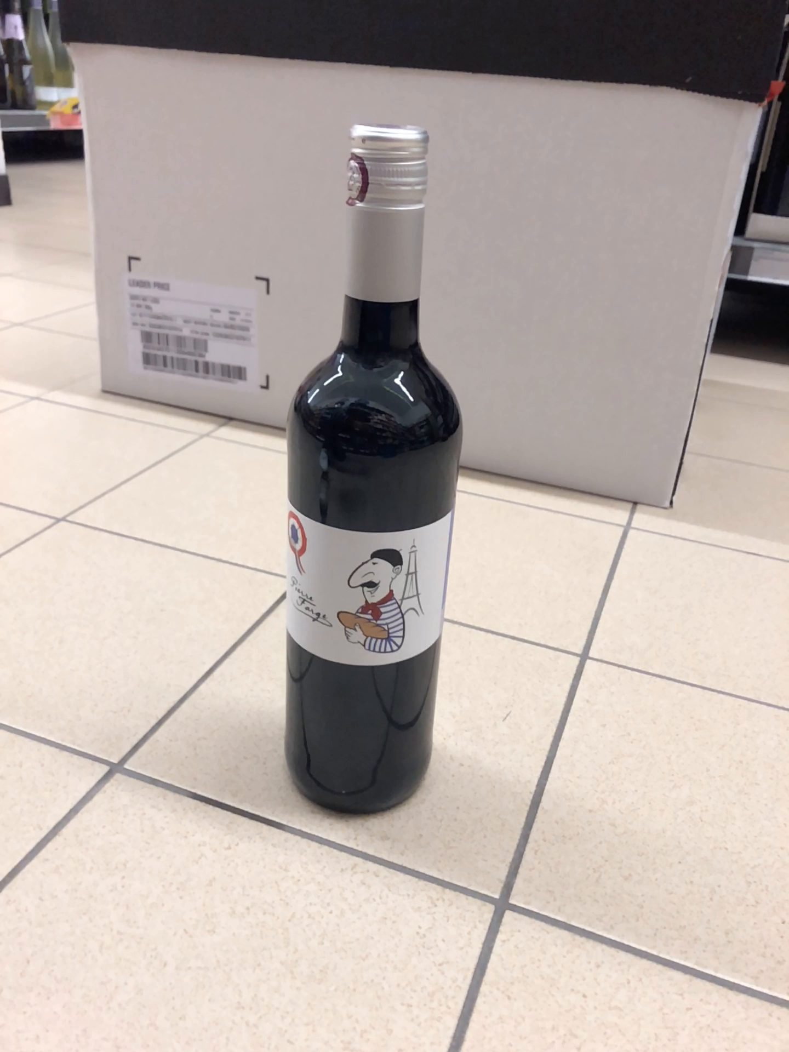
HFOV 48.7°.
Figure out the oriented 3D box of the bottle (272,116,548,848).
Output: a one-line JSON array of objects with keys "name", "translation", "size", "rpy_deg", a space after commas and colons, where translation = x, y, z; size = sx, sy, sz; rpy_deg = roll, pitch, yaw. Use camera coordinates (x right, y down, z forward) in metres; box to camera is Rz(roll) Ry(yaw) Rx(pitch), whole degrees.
[{"name": "bottle", "translation": [0.000, -0.010, 0.378], "size": [0.080, 0.298, 0.081], "rpy_deg": [3, 26, -2]}]
